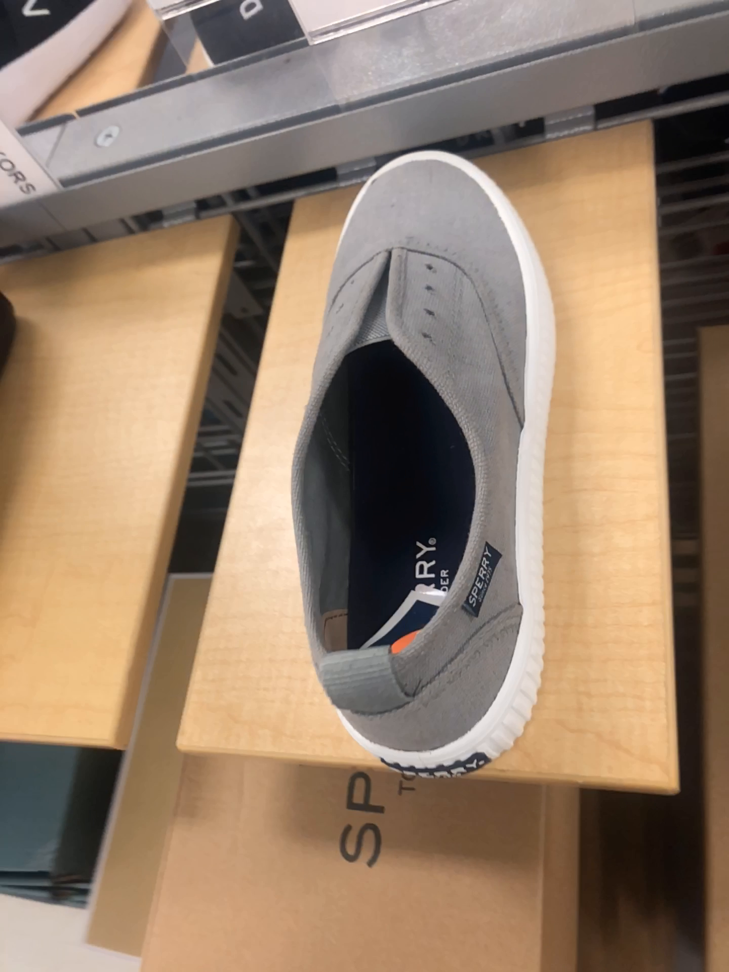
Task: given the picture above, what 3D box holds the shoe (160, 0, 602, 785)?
[{"bbox_3d":[0.011,-0.038,0.279,0.097,0.081,0.252,-10,59,19],"label":"shoe"}]
